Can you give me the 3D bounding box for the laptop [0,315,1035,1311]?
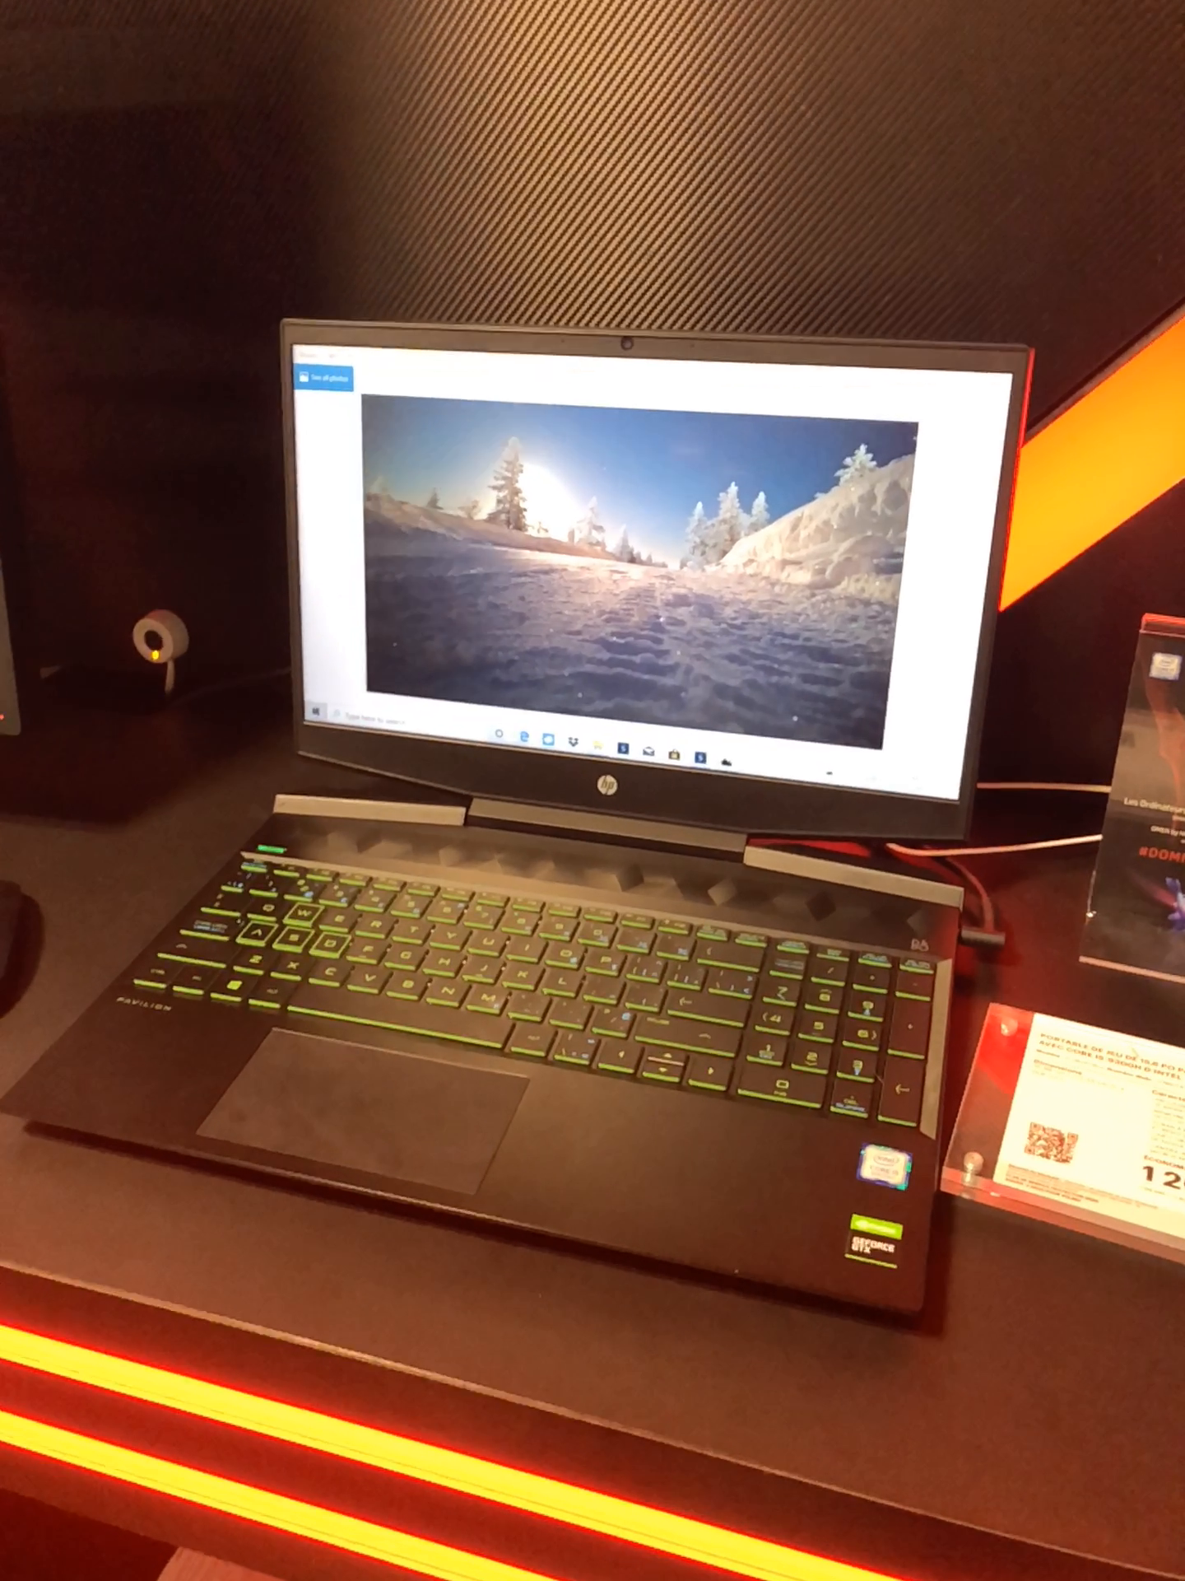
[{"bbox_3d":[-0.019,-0.039,0.544,0.355,0.240,0.315,7,30,16],"label":"laptop"}]
